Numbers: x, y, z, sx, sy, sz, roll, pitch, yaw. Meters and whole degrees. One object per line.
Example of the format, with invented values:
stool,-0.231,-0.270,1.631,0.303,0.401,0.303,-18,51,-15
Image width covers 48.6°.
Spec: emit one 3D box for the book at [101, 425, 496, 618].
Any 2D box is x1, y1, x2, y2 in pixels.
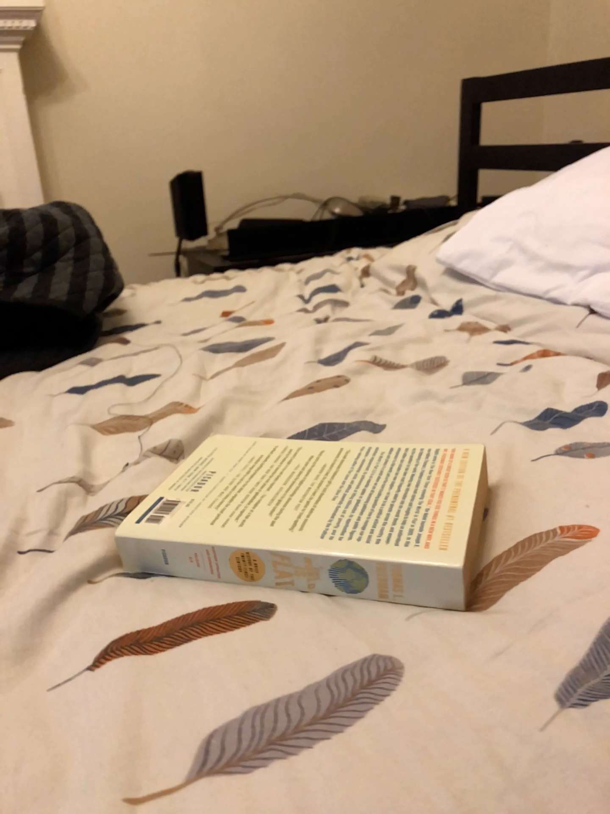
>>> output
book,0.008,0.061,0.438,0.220,0.040,0.151,2,19,16
